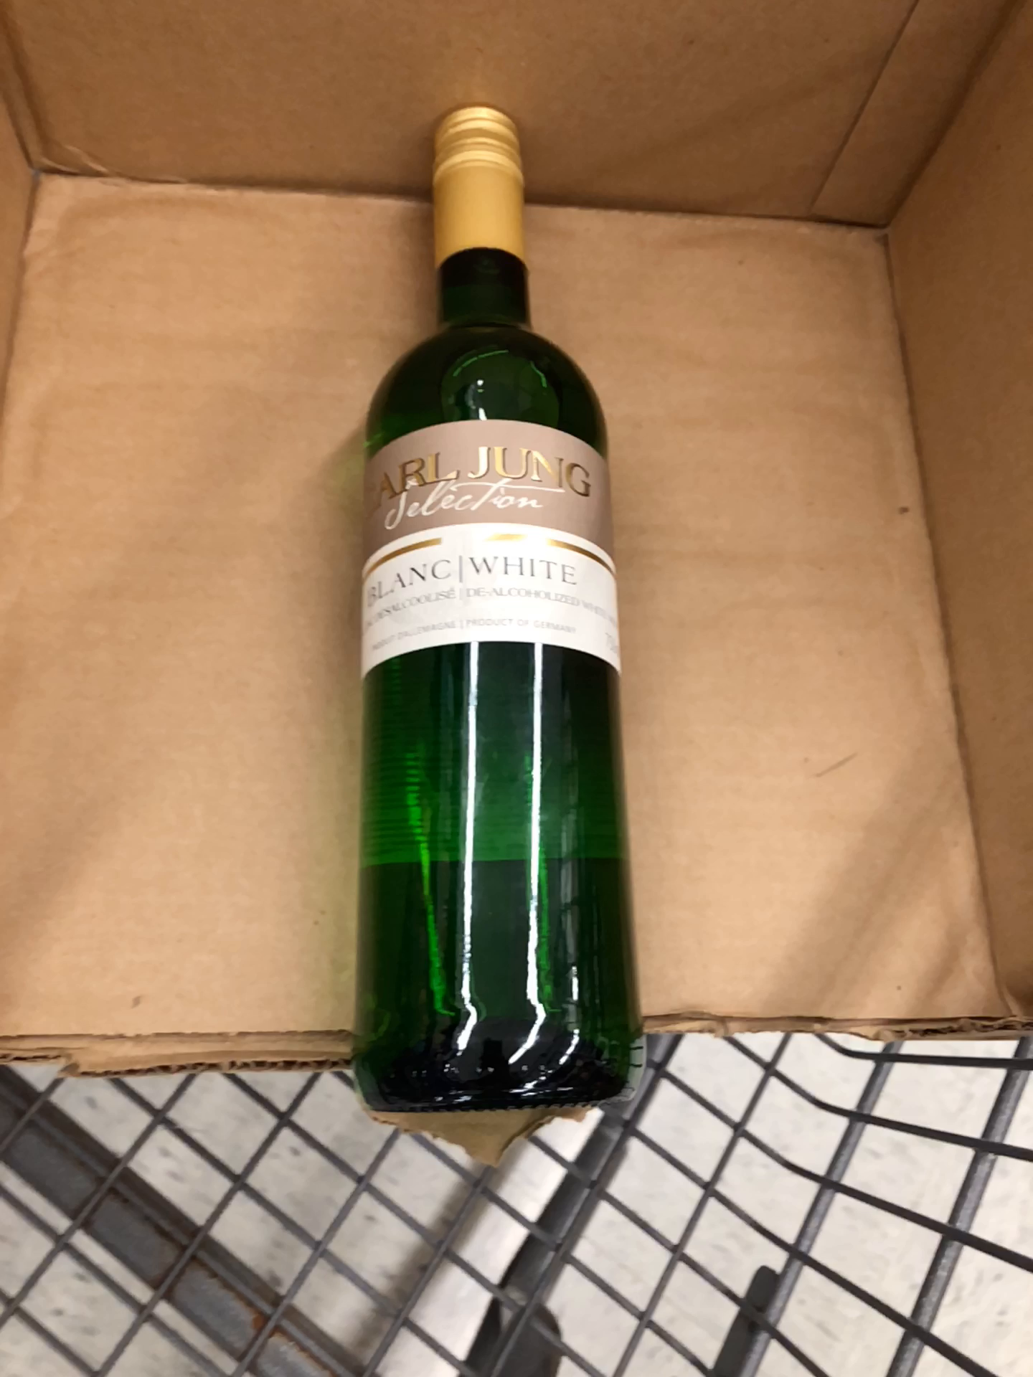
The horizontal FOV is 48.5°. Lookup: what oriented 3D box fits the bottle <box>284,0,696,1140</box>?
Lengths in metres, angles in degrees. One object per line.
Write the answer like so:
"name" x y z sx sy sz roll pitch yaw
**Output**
"bottle" -0.008 -0.057 0.319 0.080 0.100 0.331 -3 73 2
